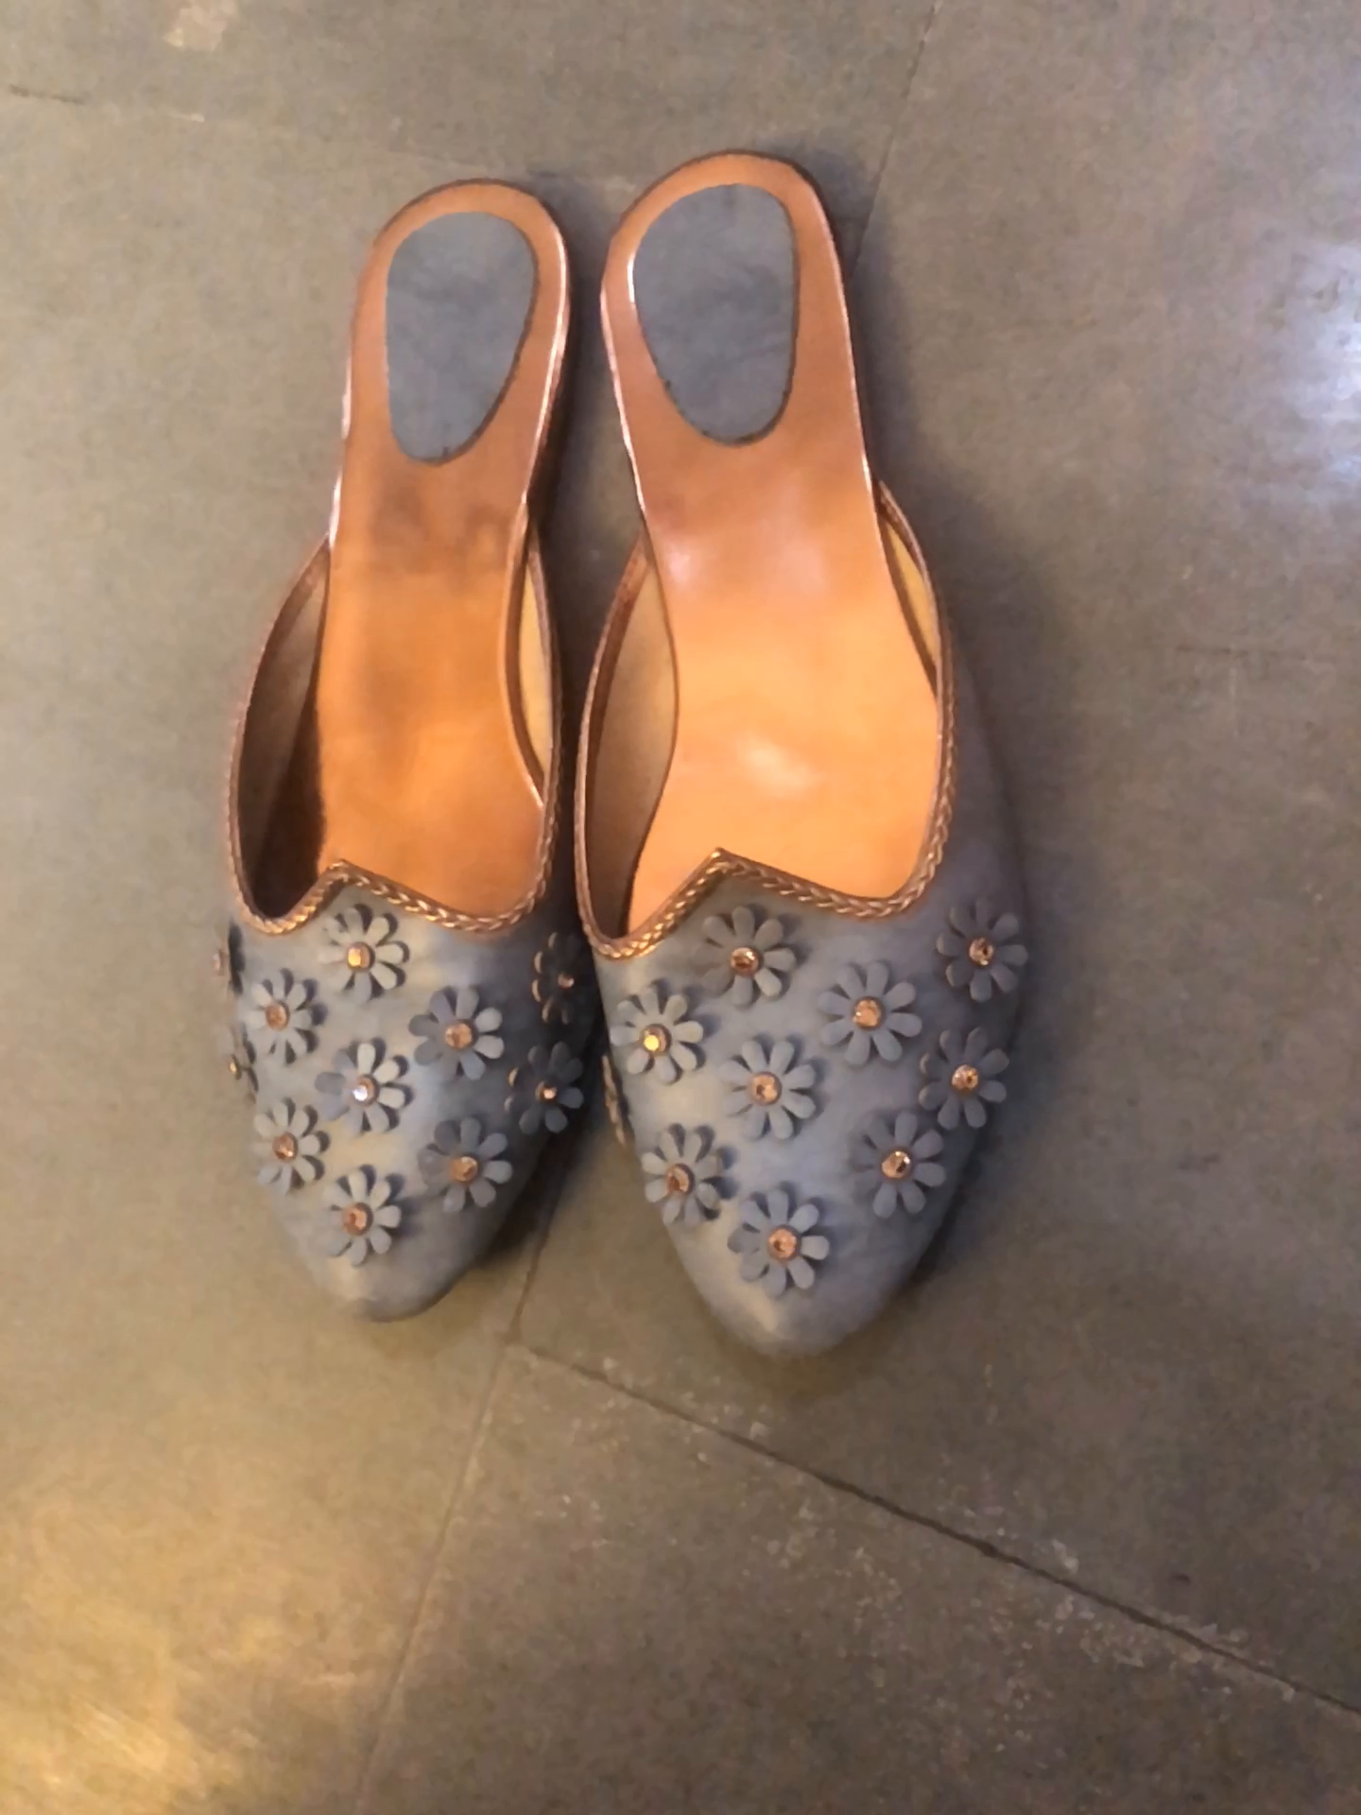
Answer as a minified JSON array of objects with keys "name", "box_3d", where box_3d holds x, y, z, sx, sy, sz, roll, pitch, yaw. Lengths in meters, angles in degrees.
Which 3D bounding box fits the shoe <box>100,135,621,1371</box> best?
[{"name":"shoe","box_3d":[-0.073,-0.036,0.366,0.100,0.050,0.270,0,84,18]}]

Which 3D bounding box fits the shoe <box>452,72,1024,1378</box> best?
[{"name":"shoe","box_3d":[0.012,-0.037,0.346,0.100,0.050,0.270,-6,82,17]}]
